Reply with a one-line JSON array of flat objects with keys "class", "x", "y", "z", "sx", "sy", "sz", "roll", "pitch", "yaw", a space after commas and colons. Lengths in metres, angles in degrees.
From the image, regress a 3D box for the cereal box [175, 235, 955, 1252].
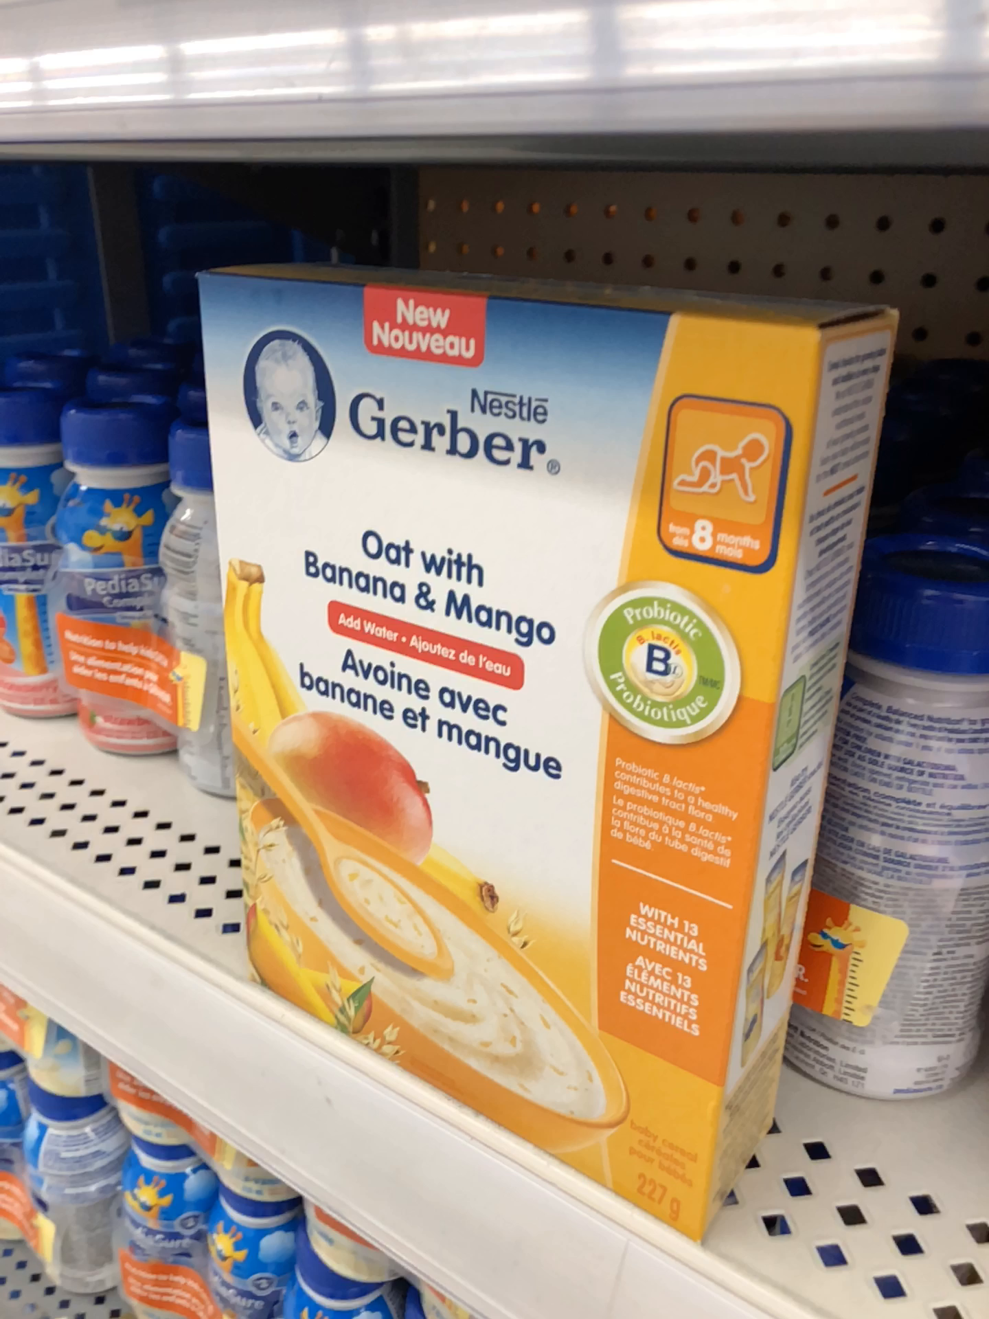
[{"class": "cereal box", "x": 0.002, "y": 0.011, "z": 0.246, "sx": 0.150, "sy": 0.189, "sz": 0.040, "roll": 18, "pitch": 28, "yaw": 32}]
